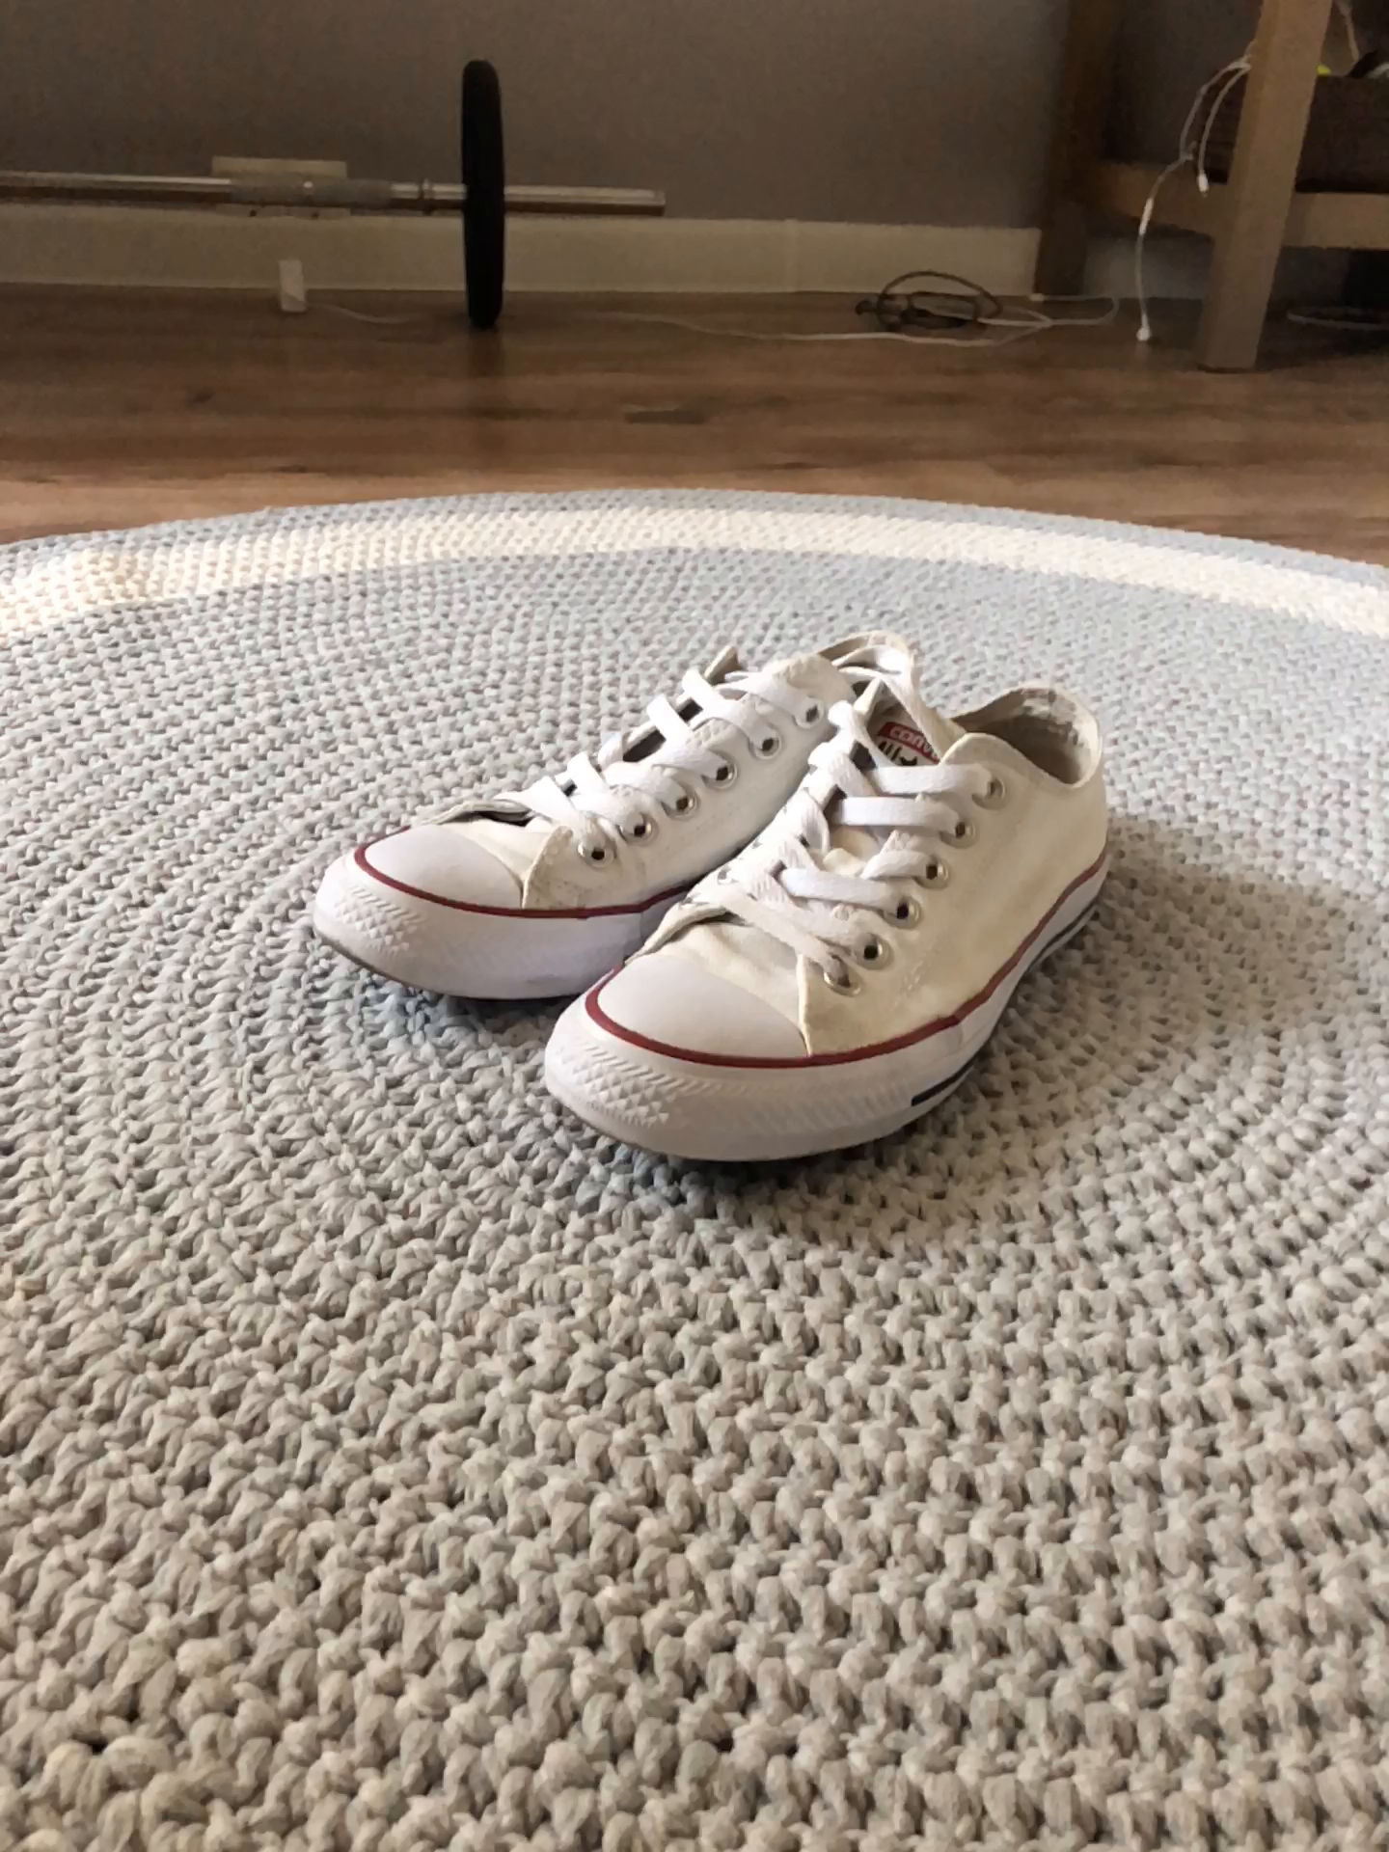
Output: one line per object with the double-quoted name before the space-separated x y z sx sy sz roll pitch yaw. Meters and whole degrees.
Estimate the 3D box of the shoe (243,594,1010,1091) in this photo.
"shoe" -0.012 -0.043 0.517 0.100 0.070 0.248 28 37 37

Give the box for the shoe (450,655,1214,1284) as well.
"shoe" 0.052 -0.006 0.455 0.100 0.070 0.241 23 35 32
